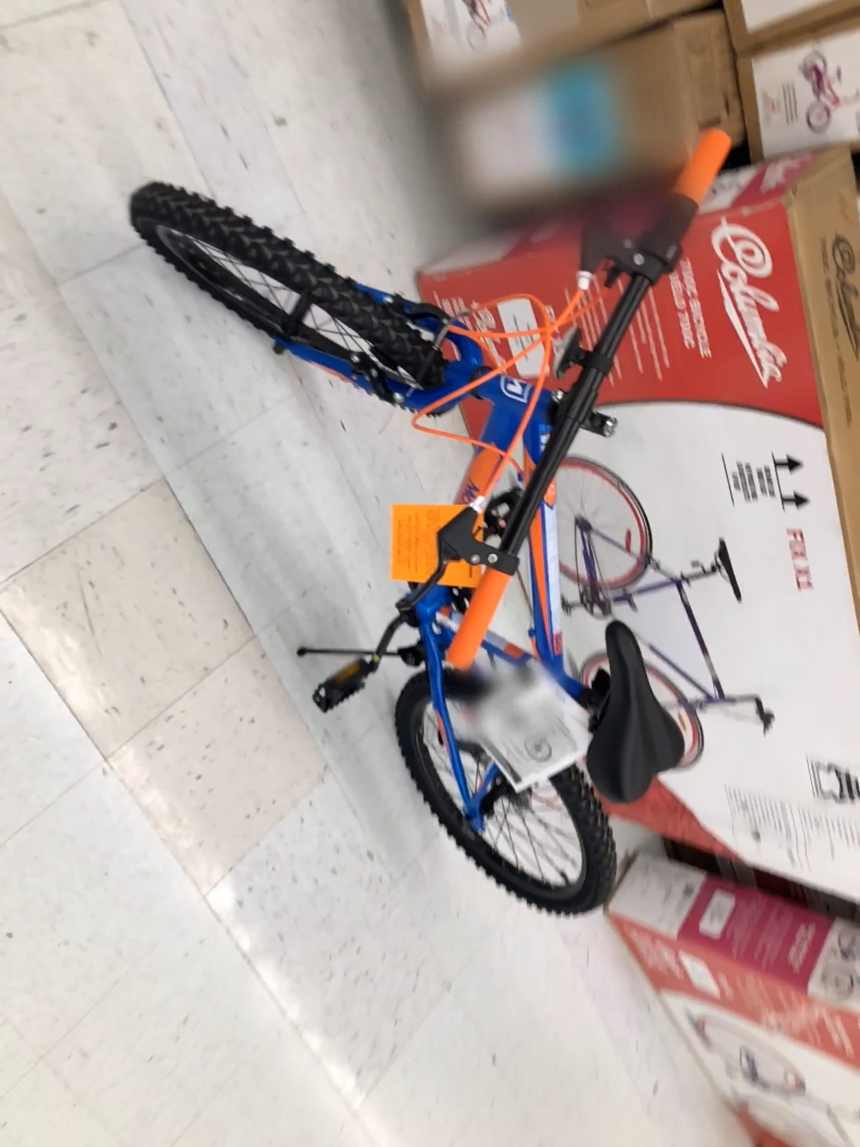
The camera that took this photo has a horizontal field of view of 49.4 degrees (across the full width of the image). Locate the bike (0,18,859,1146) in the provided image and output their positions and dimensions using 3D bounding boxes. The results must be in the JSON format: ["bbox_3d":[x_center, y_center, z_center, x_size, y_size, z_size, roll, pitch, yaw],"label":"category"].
[{"bbox_3d":[-0.044,0.080,1.352,0.585,0.870,1.317,-43,117,-33],"label":"bike"}]
